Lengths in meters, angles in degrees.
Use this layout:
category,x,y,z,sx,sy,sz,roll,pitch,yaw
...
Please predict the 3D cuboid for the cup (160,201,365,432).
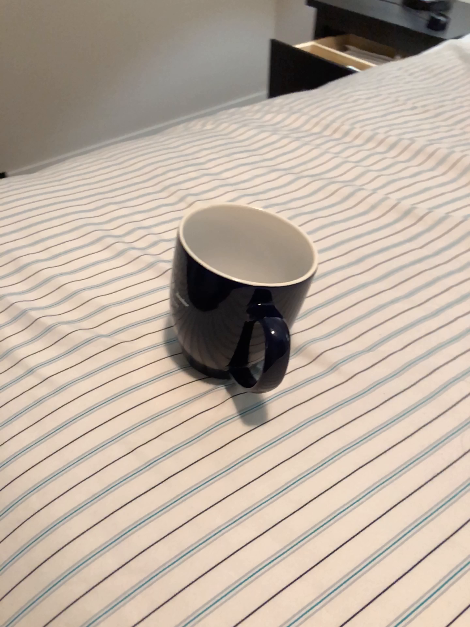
category,x,y,z,sx,sy,sz,roll,pitch,yaw
cup,0.007,-0.005,0.362,0.090,0.090,0.131,-4,42,-18
